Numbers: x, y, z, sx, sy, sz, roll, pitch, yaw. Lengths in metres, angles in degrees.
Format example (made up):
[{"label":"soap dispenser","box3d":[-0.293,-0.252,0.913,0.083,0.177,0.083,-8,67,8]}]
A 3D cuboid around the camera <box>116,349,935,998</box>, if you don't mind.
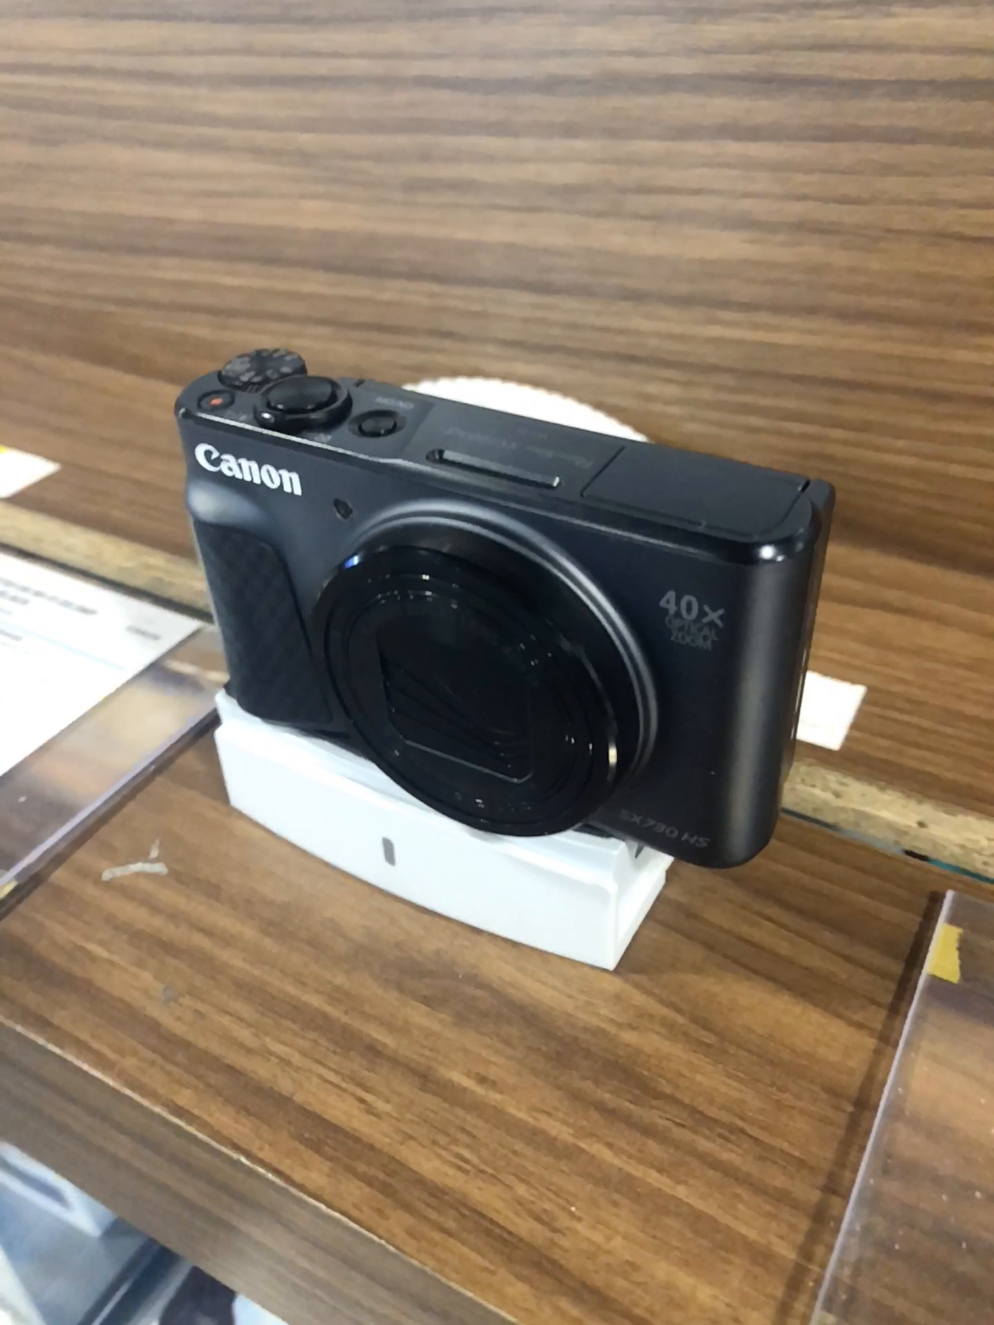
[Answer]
[{"label":"camera","box3d":[0.001,-0.003,0.173,0.110,0.063,0.037,18,43,24]}]
